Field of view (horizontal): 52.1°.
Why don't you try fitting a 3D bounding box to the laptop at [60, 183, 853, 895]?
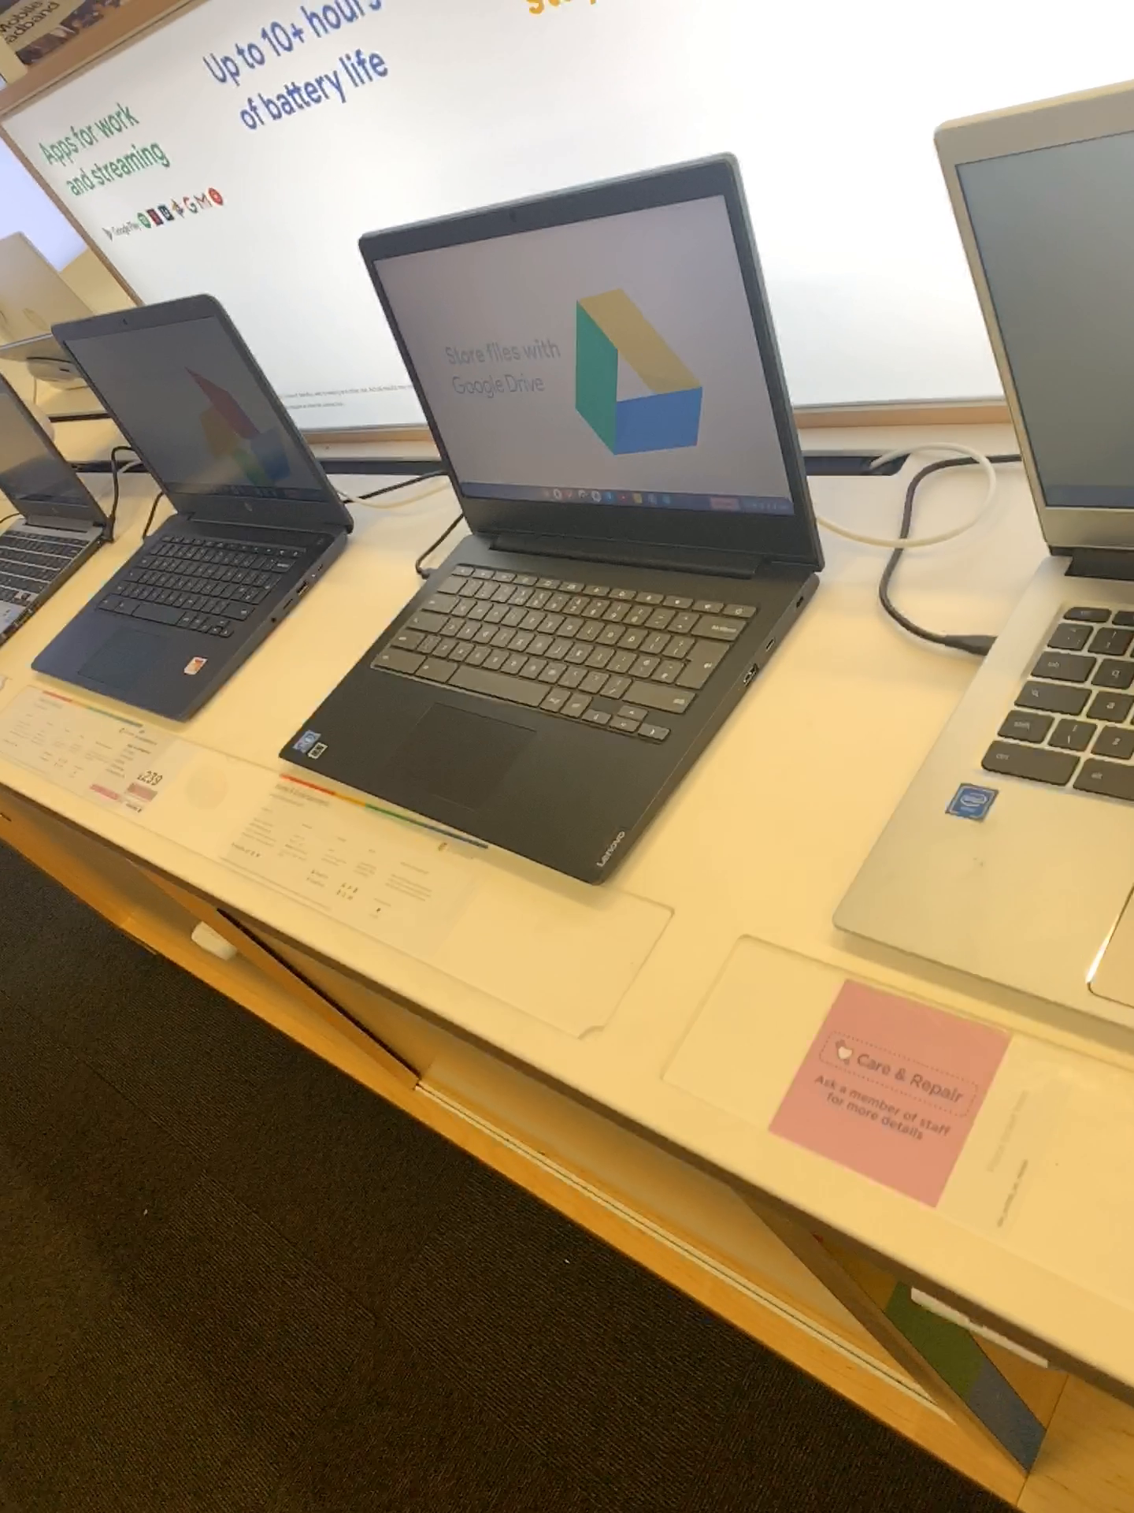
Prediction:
[{"bbox_3d":[-0.067,-0.133,0.679,0.317,0.201,0.281,16,62,46],"label":"laptop"}]
